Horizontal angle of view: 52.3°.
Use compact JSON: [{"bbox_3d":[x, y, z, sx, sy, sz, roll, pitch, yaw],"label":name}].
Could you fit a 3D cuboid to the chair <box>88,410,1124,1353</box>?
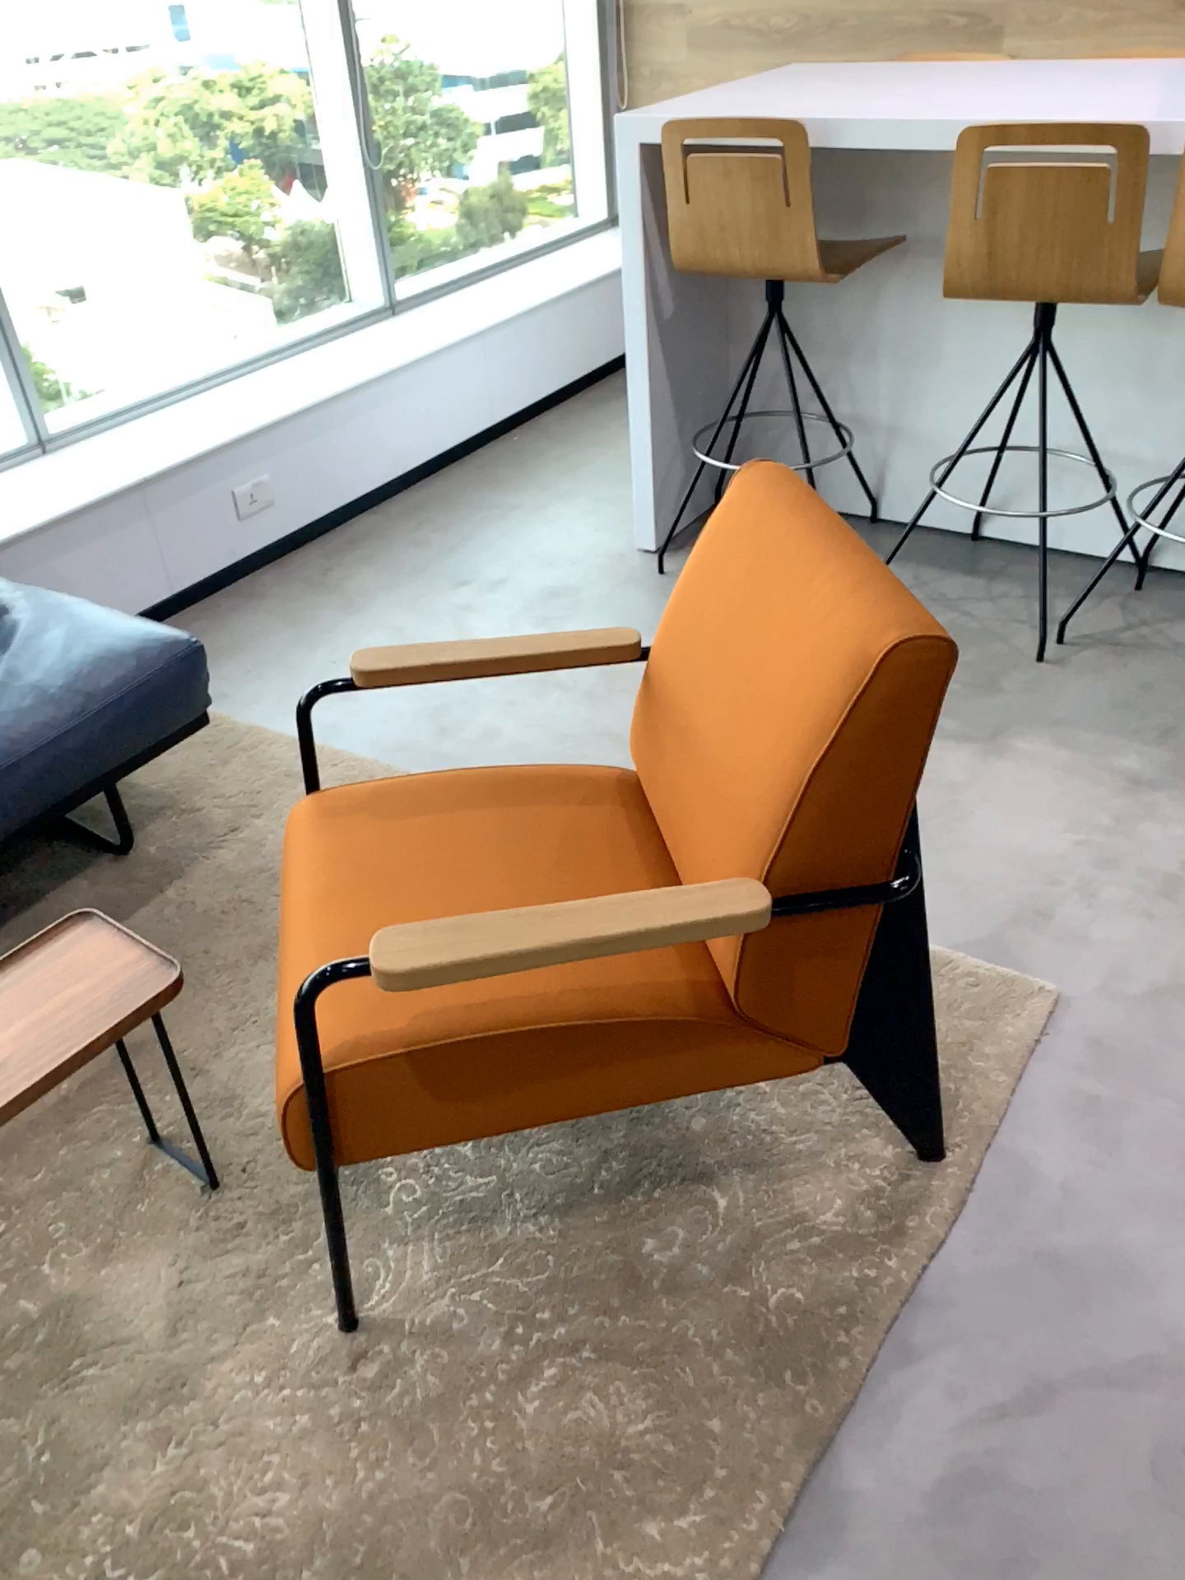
[{"bbox_3d":[-0.010,0.059,1.490,0.860,0.734,0.736,-9,35,-6],"label":"chair"}]
